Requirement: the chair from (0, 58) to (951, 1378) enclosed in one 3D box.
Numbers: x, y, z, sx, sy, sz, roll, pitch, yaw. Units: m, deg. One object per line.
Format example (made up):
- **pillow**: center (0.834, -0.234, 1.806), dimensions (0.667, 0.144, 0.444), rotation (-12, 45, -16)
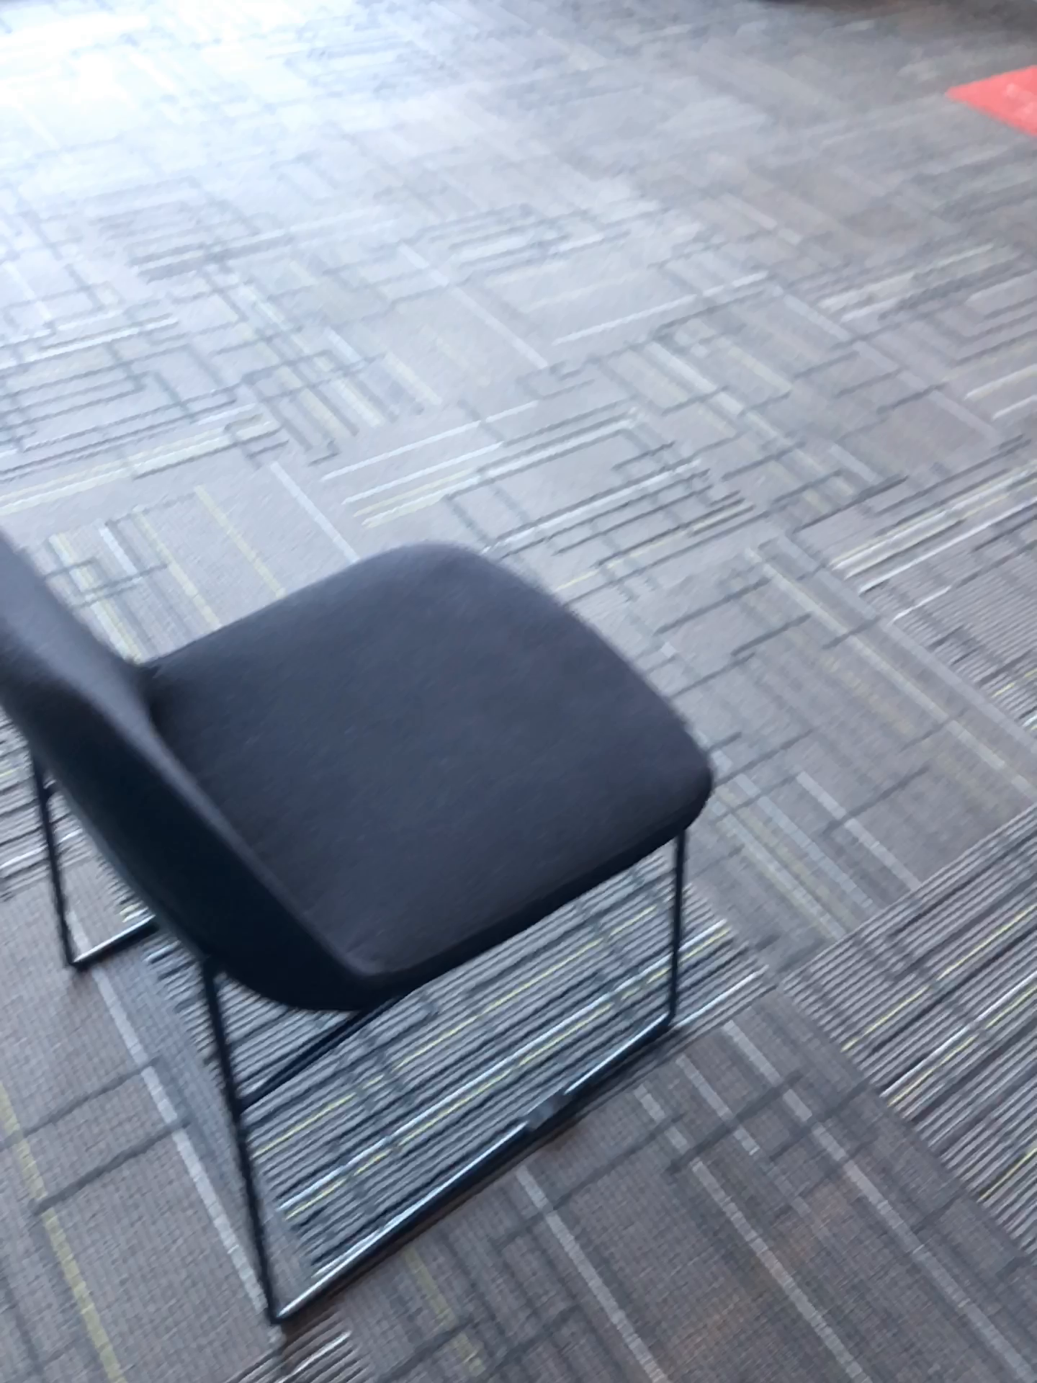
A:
- **chair**: center (-0.170, 0.030, 0.946), dimensions (0.551, 0.767, 0.561), rotation (-28, 55, -27)
